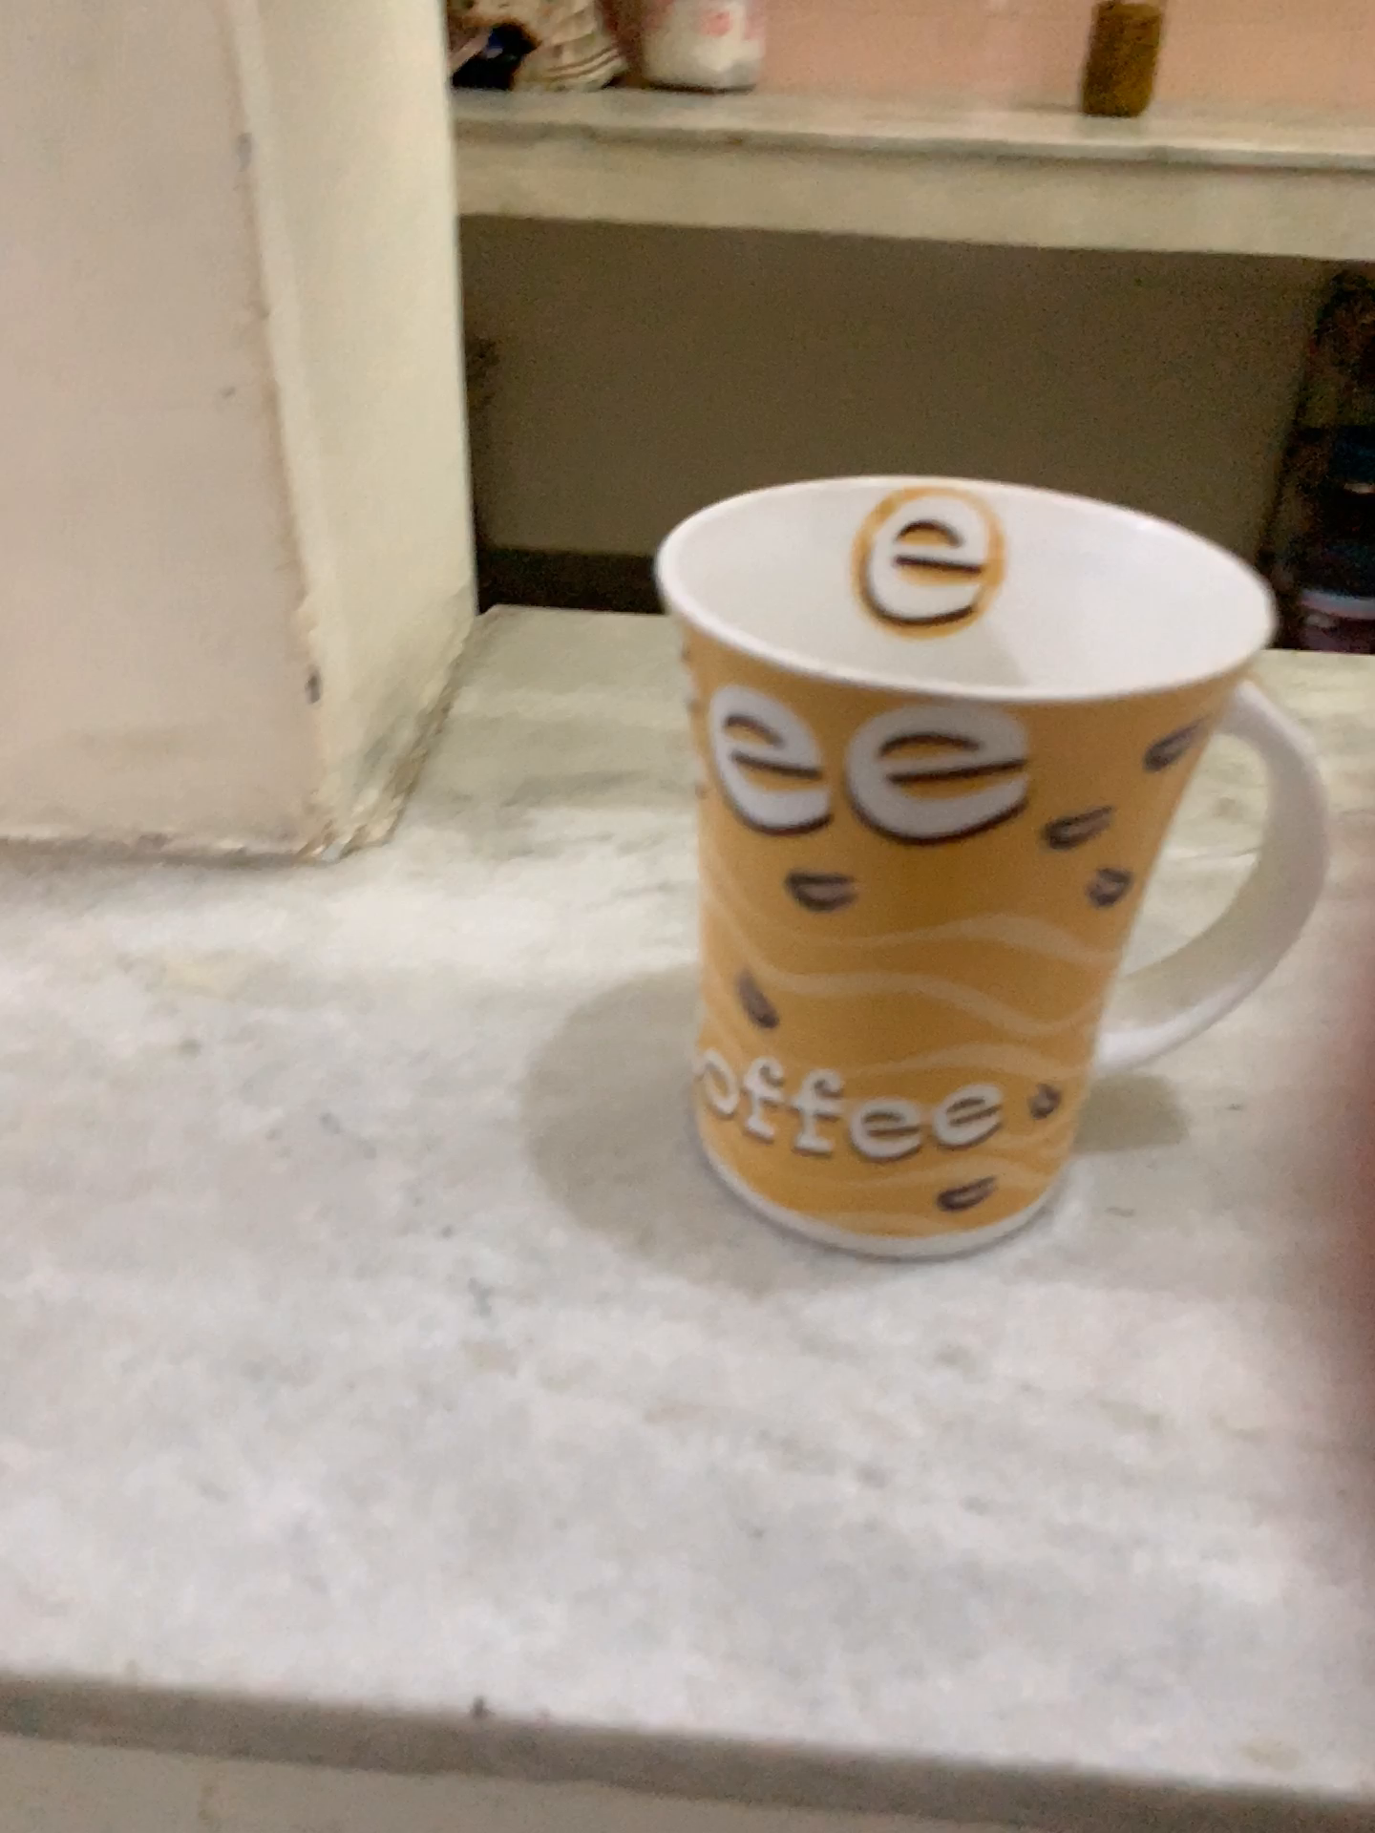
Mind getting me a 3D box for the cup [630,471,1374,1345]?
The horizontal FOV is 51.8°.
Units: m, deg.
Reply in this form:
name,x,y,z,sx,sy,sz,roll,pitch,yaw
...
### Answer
name,x,y,z,sx,sy,sz,roll,pitch,yaw
cup,0.043,-0.004,0.210,0.100,0.100,0.080,-1,33,-4
